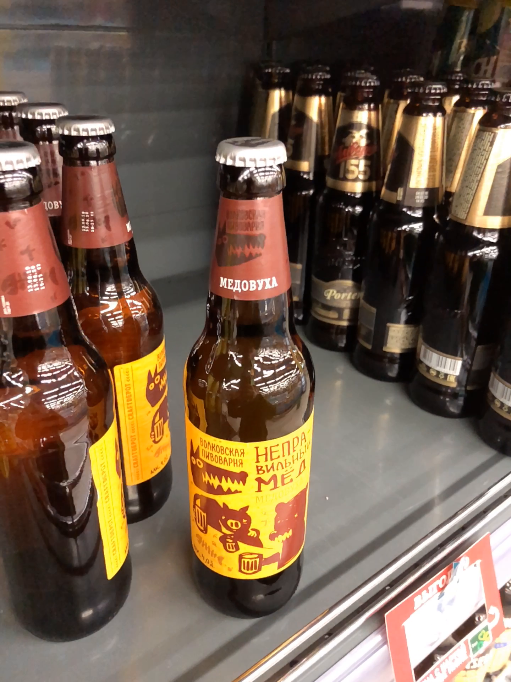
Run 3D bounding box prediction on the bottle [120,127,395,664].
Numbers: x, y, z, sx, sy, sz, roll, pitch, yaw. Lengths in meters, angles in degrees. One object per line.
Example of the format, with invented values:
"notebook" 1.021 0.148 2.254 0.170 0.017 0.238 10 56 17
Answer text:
"bottle" -0.003 0.032 0.277 0.080 0.243 0.070 -21 36 -35
